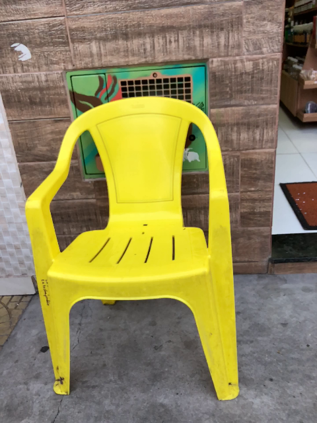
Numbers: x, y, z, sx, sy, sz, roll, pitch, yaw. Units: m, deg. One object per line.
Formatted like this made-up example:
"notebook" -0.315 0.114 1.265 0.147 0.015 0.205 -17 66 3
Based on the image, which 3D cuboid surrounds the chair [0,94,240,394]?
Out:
"chair" -0.090 0.067 1.131 0.640 0.745 0.544 -1 25 9
